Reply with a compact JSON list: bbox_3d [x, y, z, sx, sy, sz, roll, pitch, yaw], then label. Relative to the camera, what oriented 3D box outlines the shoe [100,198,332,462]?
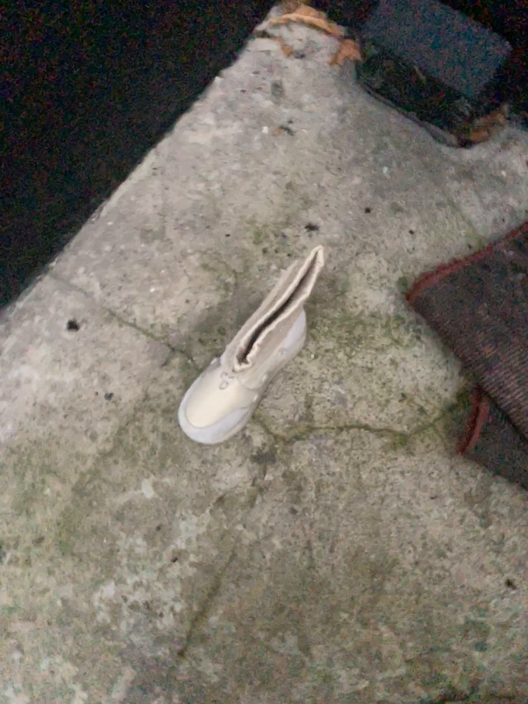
[{"bbox_3d":[-0.043,-0.003,0.728,0.110,0.299,0.270,36,79,11],"label":"shoe"}]
